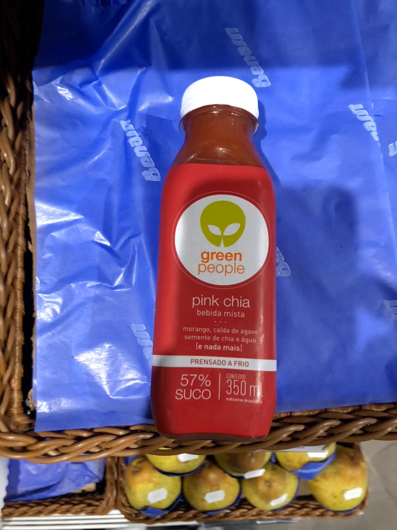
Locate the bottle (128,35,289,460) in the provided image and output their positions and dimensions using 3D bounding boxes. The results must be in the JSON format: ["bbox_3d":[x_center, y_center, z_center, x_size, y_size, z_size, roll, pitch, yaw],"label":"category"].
[{"bbox_3d":[0.009,-0.012,0.224,0.060,0.060,0.190,3,77,2],"label":"bottle"}]
